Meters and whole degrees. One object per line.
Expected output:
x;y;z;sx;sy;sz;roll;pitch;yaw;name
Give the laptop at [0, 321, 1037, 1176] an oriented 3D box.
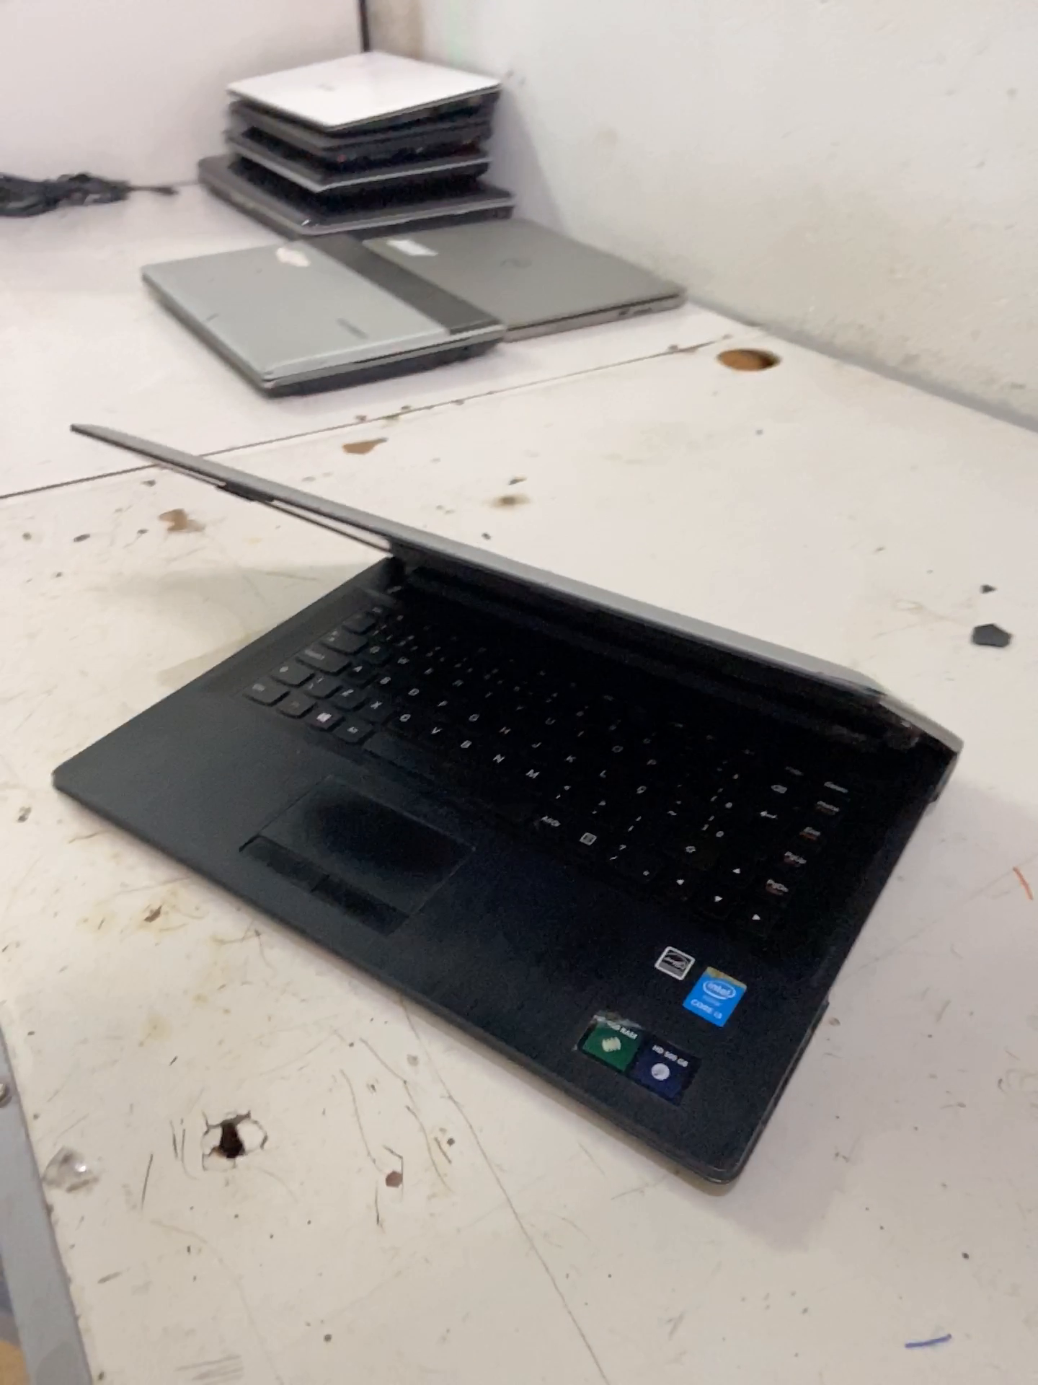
-0.009;-0.024;0.455;0.344;0.148;0.246;21;42;28;laptop
